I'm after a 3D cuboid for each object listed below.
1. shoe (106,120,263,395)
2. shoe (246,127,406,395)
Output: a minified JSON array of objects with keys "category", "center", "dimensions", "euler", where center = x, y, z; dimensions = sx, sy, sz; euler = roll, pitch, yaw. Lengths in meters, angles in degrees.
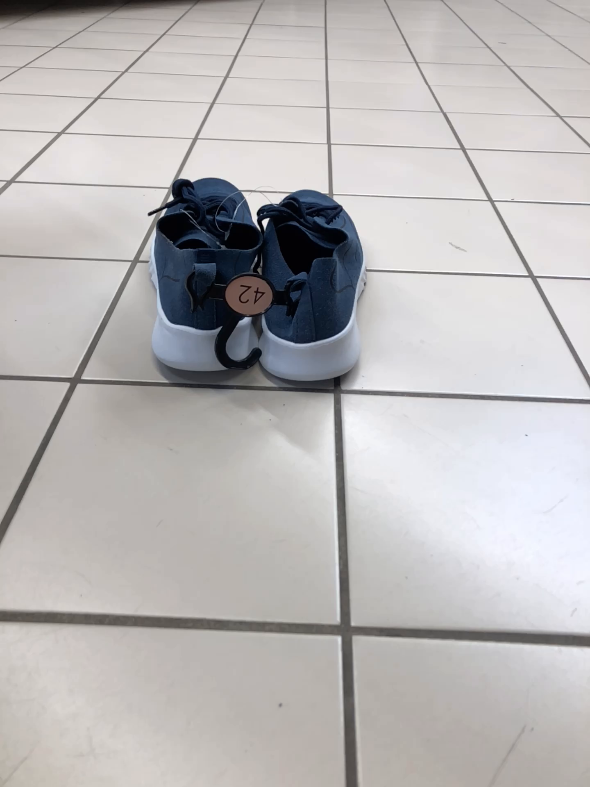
[{"category":"shoe","center":[-0.091,-0.138,0.569],"dimensions":[0.100,0.119,0.292],"euler":[-3,38,-7]},{"category":"shoe","center":[0.010,-0.132,0.561],"dimensions":[0.100,0.109,0.292],"euler":[-1,38,-4]}]
